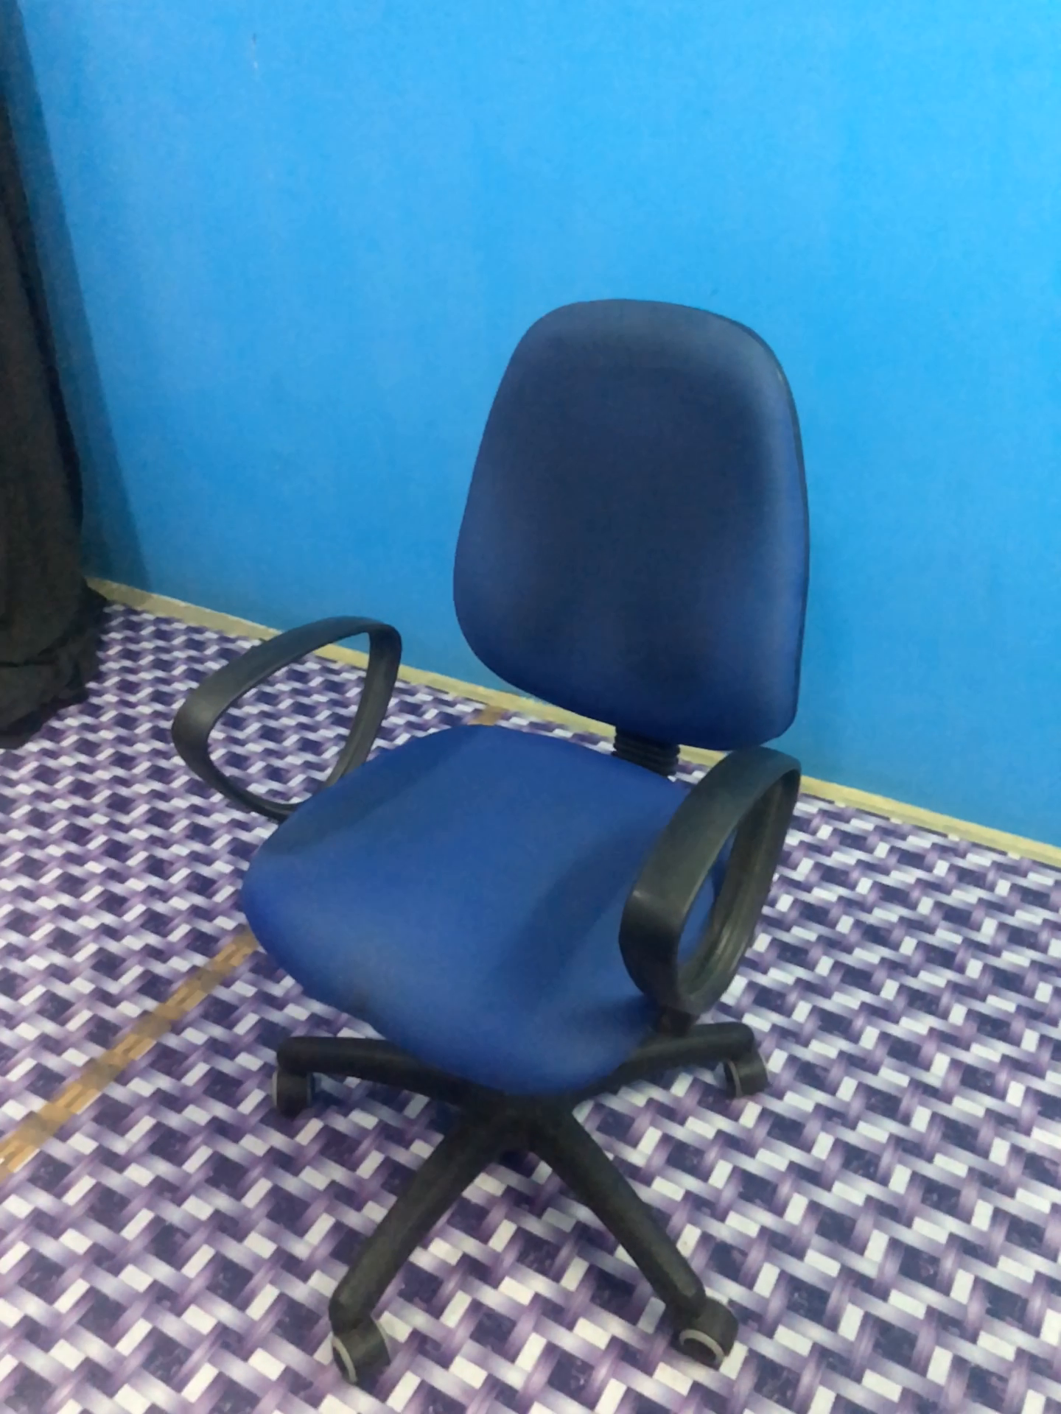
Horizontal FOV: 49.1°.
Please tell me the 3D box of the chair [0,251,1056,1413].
[{"bbox_3d":[-0.040,0.127,1.159,0.700,0.915,0.693,21,38,30],"label":"chair"}]
